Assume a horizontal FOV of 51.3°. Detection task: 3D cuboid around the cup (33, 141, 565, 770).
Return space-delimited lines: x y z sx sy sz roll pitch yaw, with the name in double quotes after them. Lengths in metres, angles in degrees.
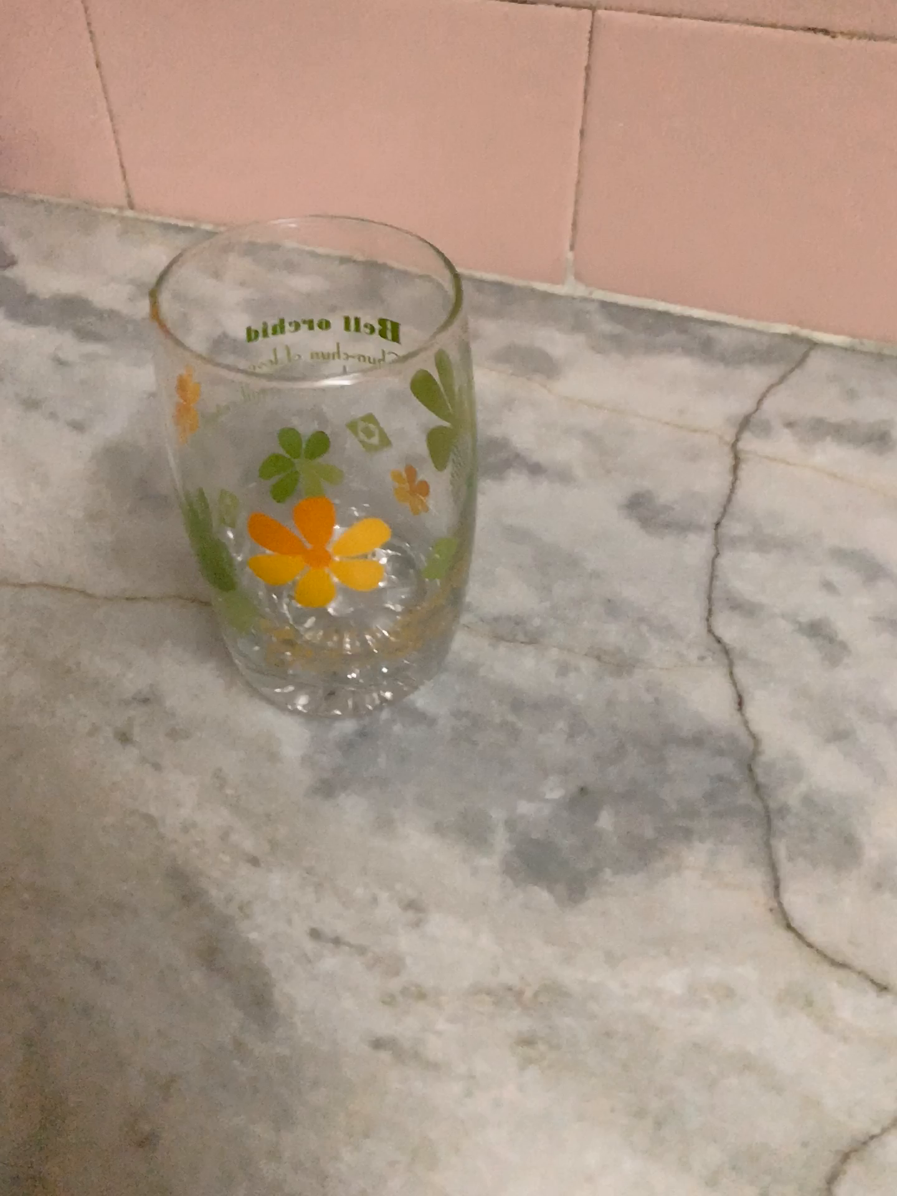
-0.028 -0.031 0.210 0.070 0.100 0.070 0 48 0 "cup"
